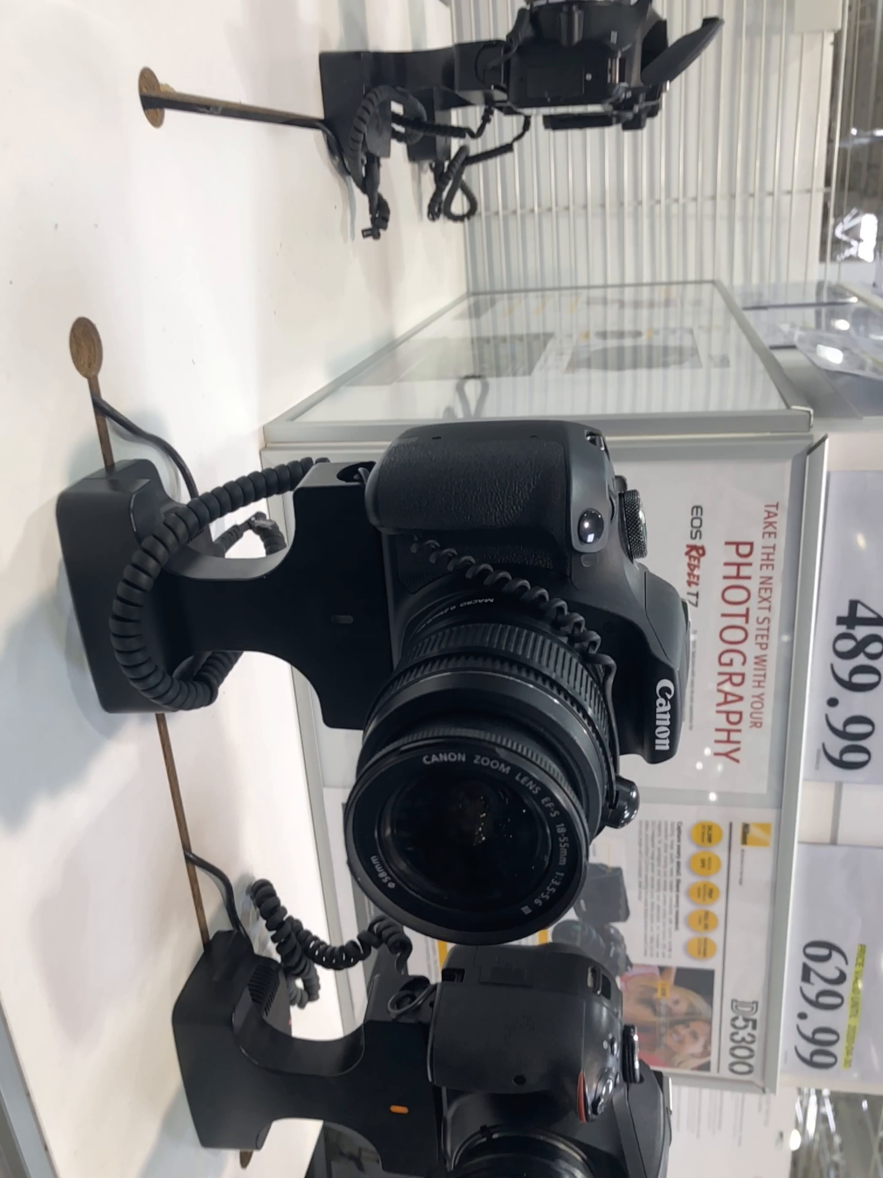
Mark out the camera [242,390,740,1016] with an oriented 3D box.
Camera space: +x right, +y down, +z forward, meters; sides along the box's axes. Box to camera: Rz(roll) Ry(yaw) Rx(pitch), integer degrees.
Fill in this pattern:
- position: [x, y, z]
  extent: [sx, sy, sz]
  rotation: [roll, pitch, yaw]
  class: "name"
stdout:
- position: [0.026, 0.022, 0.308]
  extent: [0.150, 0.110, 0.130]
  rotation: [-69, 157, -62]
  class: "camera"
